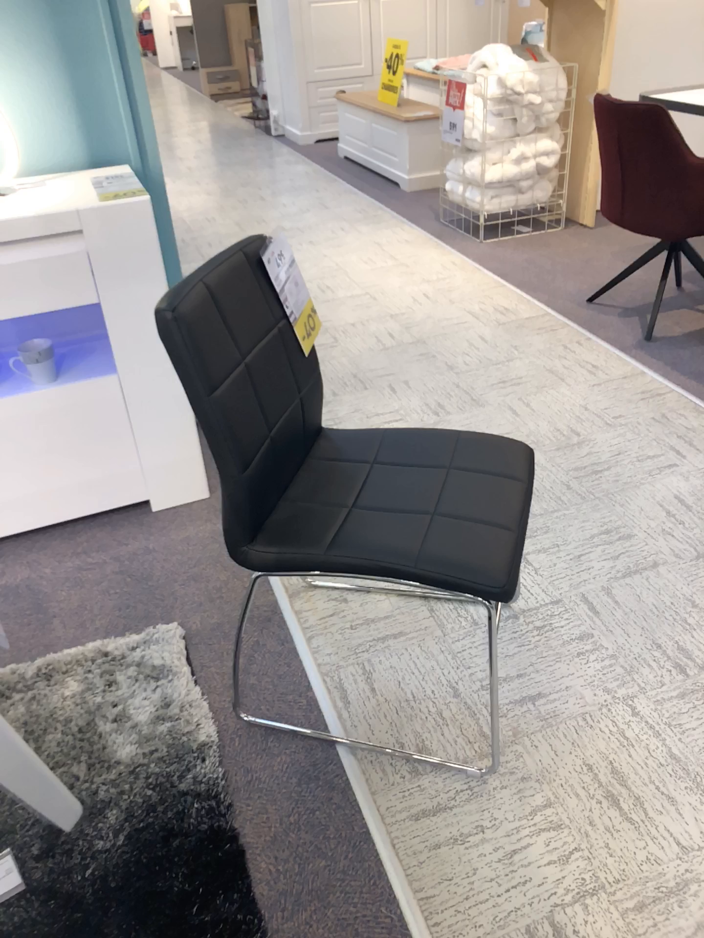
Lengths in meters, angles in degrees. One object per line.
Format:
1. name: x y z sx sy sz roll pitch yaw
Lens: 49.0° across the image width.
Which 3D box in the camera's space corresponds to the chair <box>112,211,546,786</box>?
1. chair: 0.036 0.034 1.370 0.535 0.825 0.523 4 33 13
